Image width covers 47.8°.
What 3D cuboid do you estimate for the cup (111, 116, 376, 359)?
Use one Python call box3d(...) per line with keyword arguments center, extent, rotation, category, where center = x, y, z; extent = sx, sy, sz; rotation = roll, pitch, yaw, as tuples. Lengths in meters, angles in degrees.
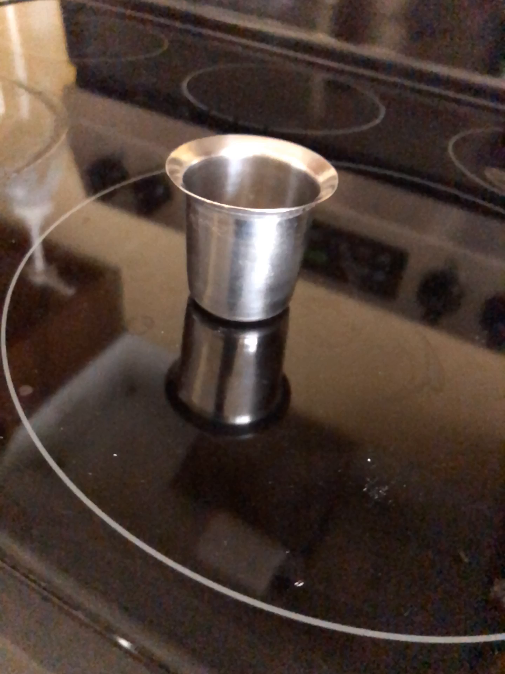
box3d(center=(-0.005, -0.044, 0.228), extent=(0.073, 0.056, 0.067), rotation=(5, 39, -4), category="cup")
